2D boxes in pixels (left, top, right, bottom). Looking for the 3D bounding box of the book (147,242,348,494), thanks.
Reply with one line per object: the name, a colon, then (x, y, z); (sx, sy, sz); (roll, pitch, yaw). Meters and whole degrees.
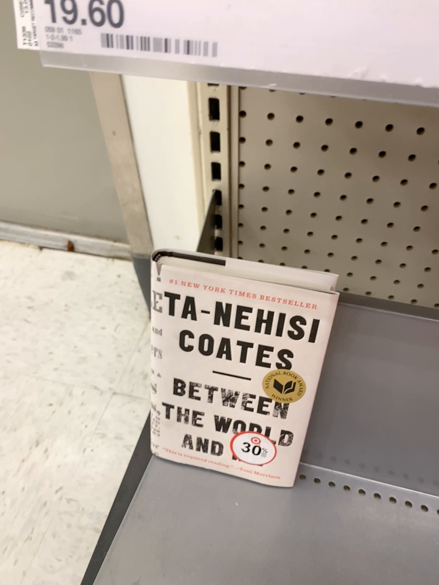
book: (0.014, 0.063, 0.346); (0.129, 0.186, 0.030); (9, 29, 11)
